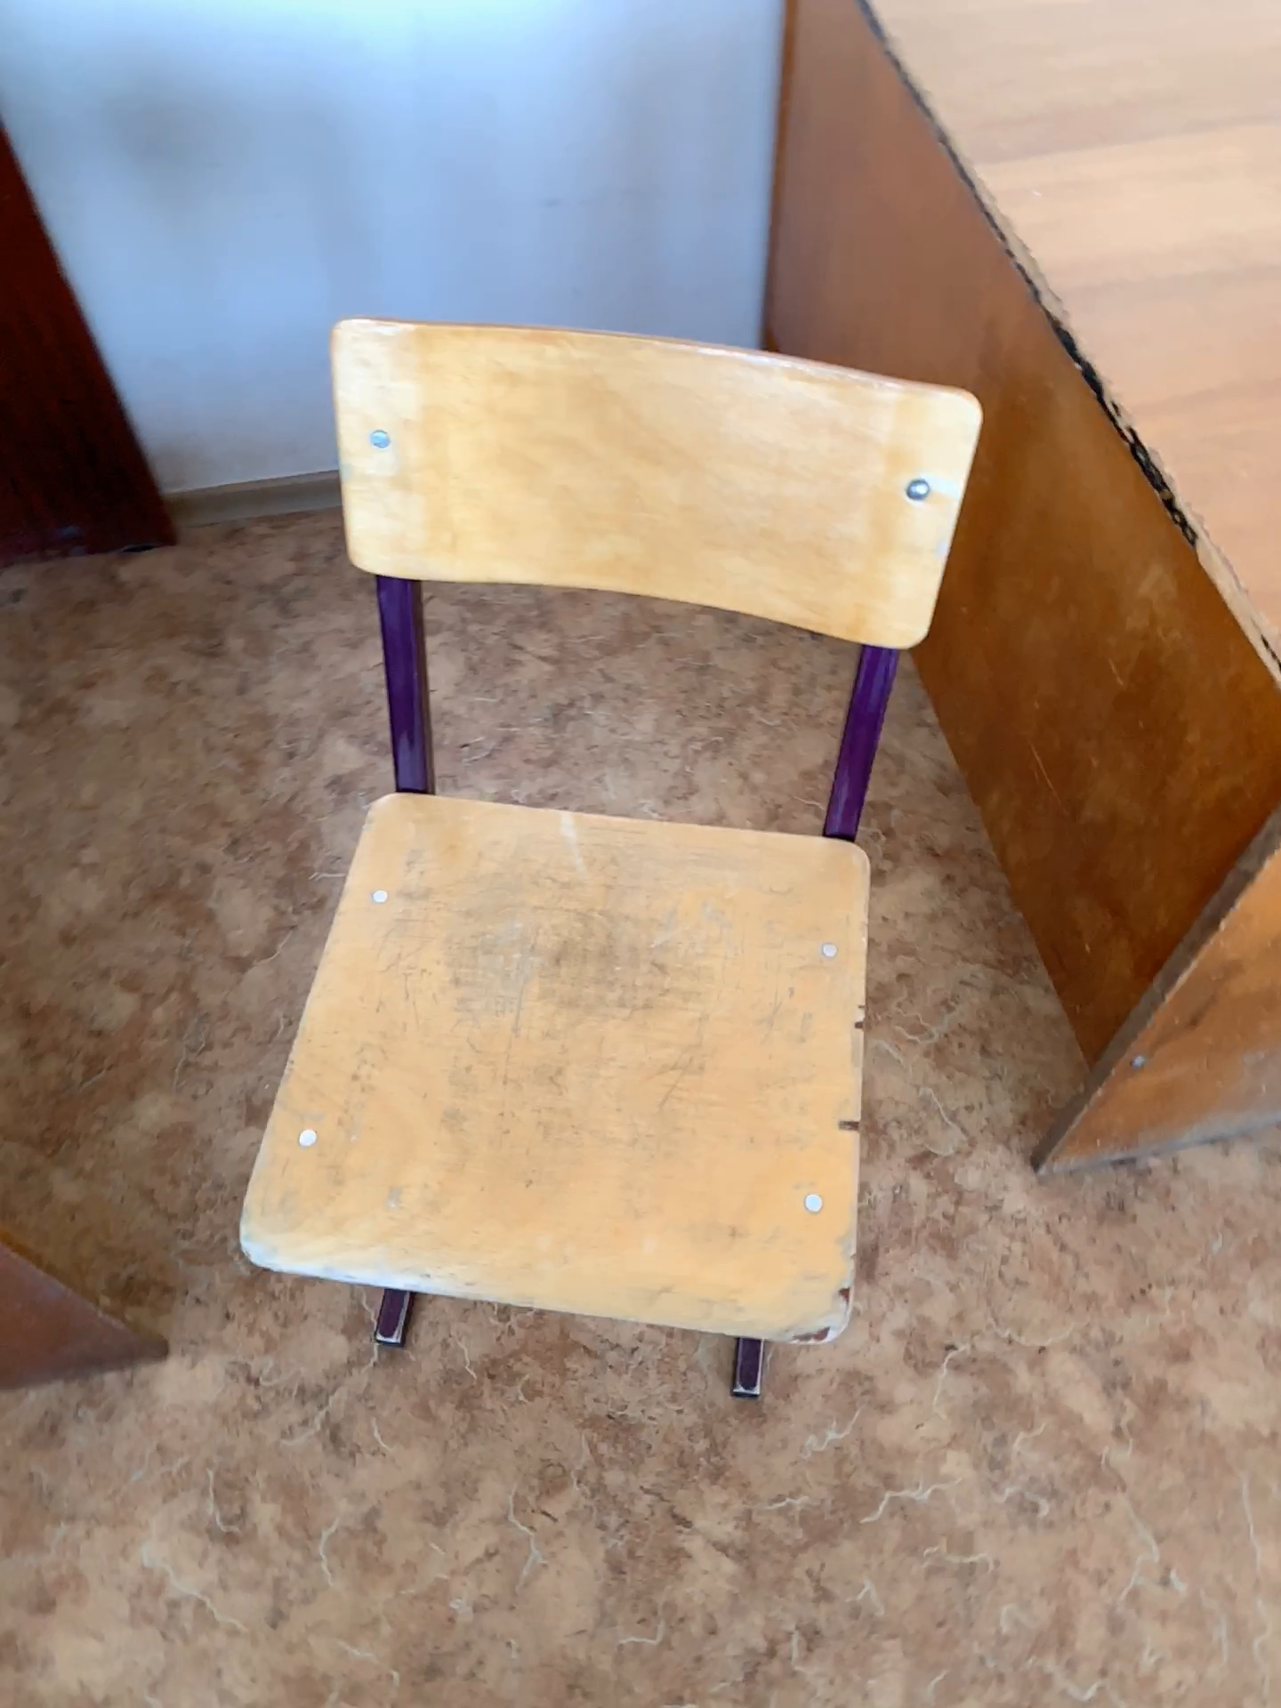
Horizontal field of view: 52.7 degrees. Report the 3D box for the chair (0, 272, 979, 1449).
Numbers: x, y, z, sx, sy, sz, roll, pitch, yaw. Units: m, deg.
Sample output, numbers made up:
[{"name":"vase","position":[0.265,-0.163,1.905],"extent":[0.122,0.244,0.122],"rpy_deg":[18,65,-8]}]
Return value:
[{"name":"chair","position":[-0.030,0.078,0.920],"extent":[0.380,0.735,0.473],"rpy_deg":[7,57,6]}]
